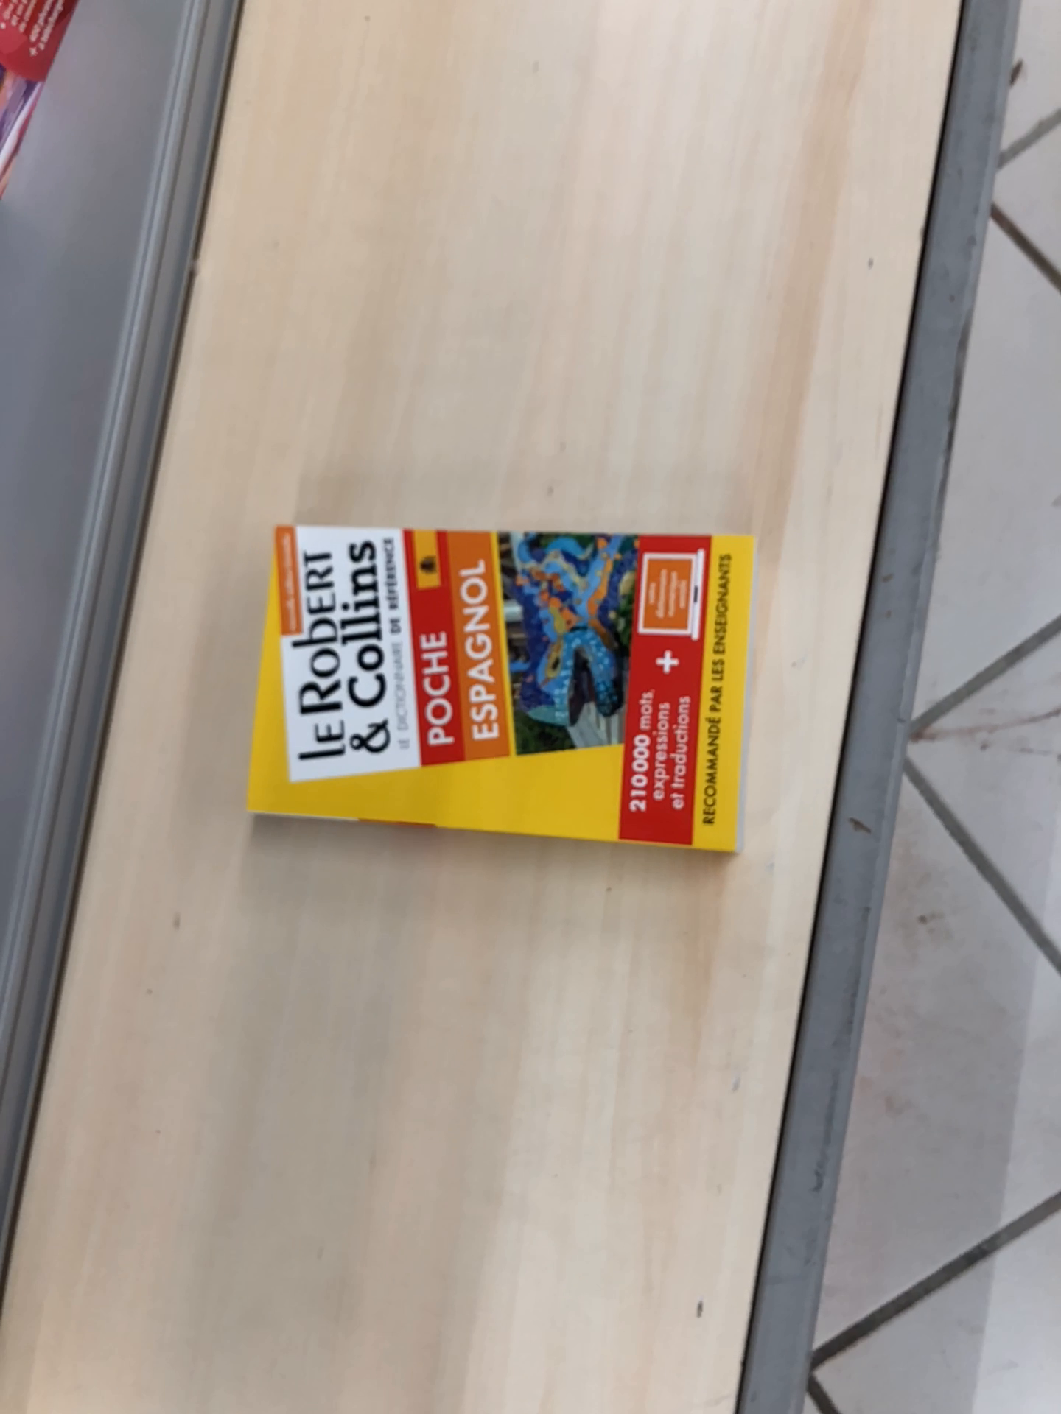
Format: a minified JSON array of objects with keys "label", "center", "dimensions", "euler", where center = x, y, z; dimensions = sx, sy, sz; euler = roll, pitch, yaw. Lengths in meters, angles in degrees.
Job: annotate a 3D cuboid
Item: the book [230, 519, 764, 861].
[{"label":"book","center":[-0.010,-0.007,0.426],"dimensions":[0.180,0.040,0.110],"euler":[3,82,12]}]
